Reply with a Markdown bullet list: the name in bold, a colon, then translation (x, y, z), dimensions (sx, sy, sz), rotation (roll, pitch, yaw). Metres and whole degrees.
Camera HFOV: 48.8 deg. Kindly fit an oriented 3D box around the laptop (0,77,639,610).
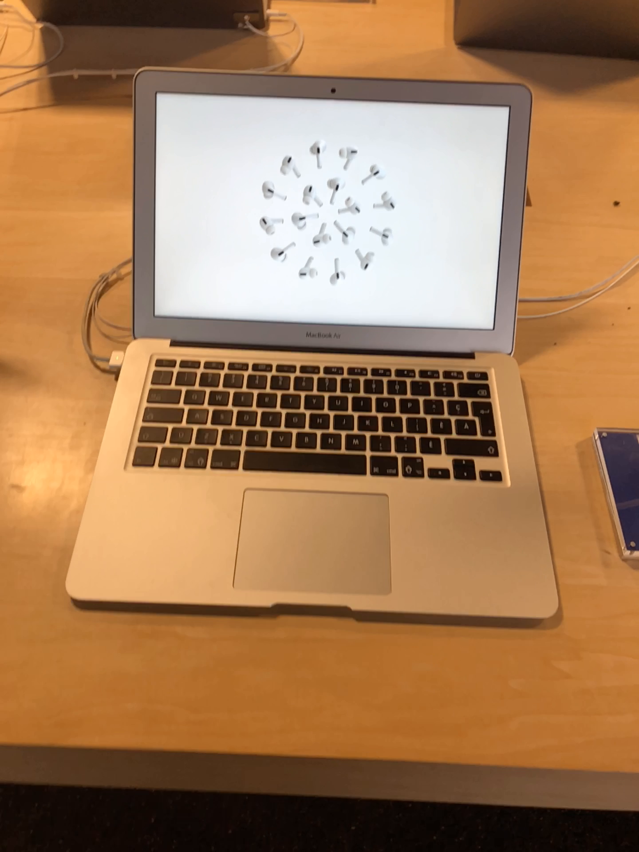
- **laptop**: translation (0.003, -0.080, 0.504), dimensions (0.311, 0.151, 0.372), rotation (2, 52, 0)
